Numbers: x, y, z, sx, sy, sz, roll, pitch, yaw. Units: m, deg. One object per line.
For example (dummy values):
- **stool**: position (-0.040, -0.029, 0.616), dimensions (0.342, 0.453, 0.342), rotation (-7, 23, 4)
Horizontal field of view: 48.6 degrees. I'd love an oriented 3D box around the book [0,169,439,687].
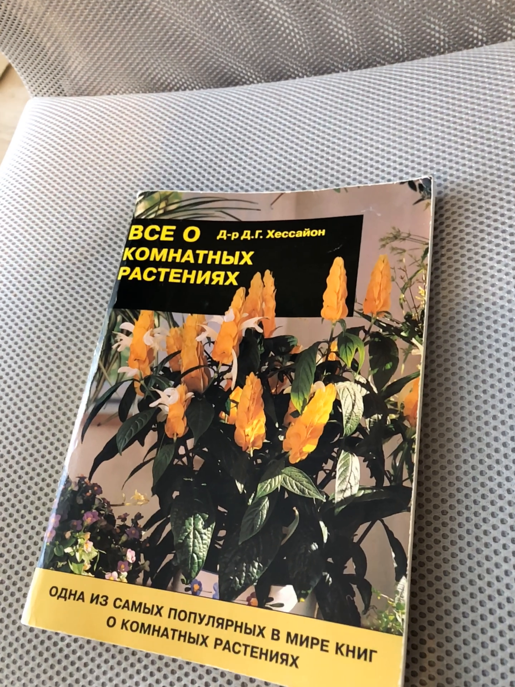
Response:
- **book**: position (-0.008, 0.025, 0.270), dimensions (0.170, 0.030, 0.231), rotation (2, 67, 18)
